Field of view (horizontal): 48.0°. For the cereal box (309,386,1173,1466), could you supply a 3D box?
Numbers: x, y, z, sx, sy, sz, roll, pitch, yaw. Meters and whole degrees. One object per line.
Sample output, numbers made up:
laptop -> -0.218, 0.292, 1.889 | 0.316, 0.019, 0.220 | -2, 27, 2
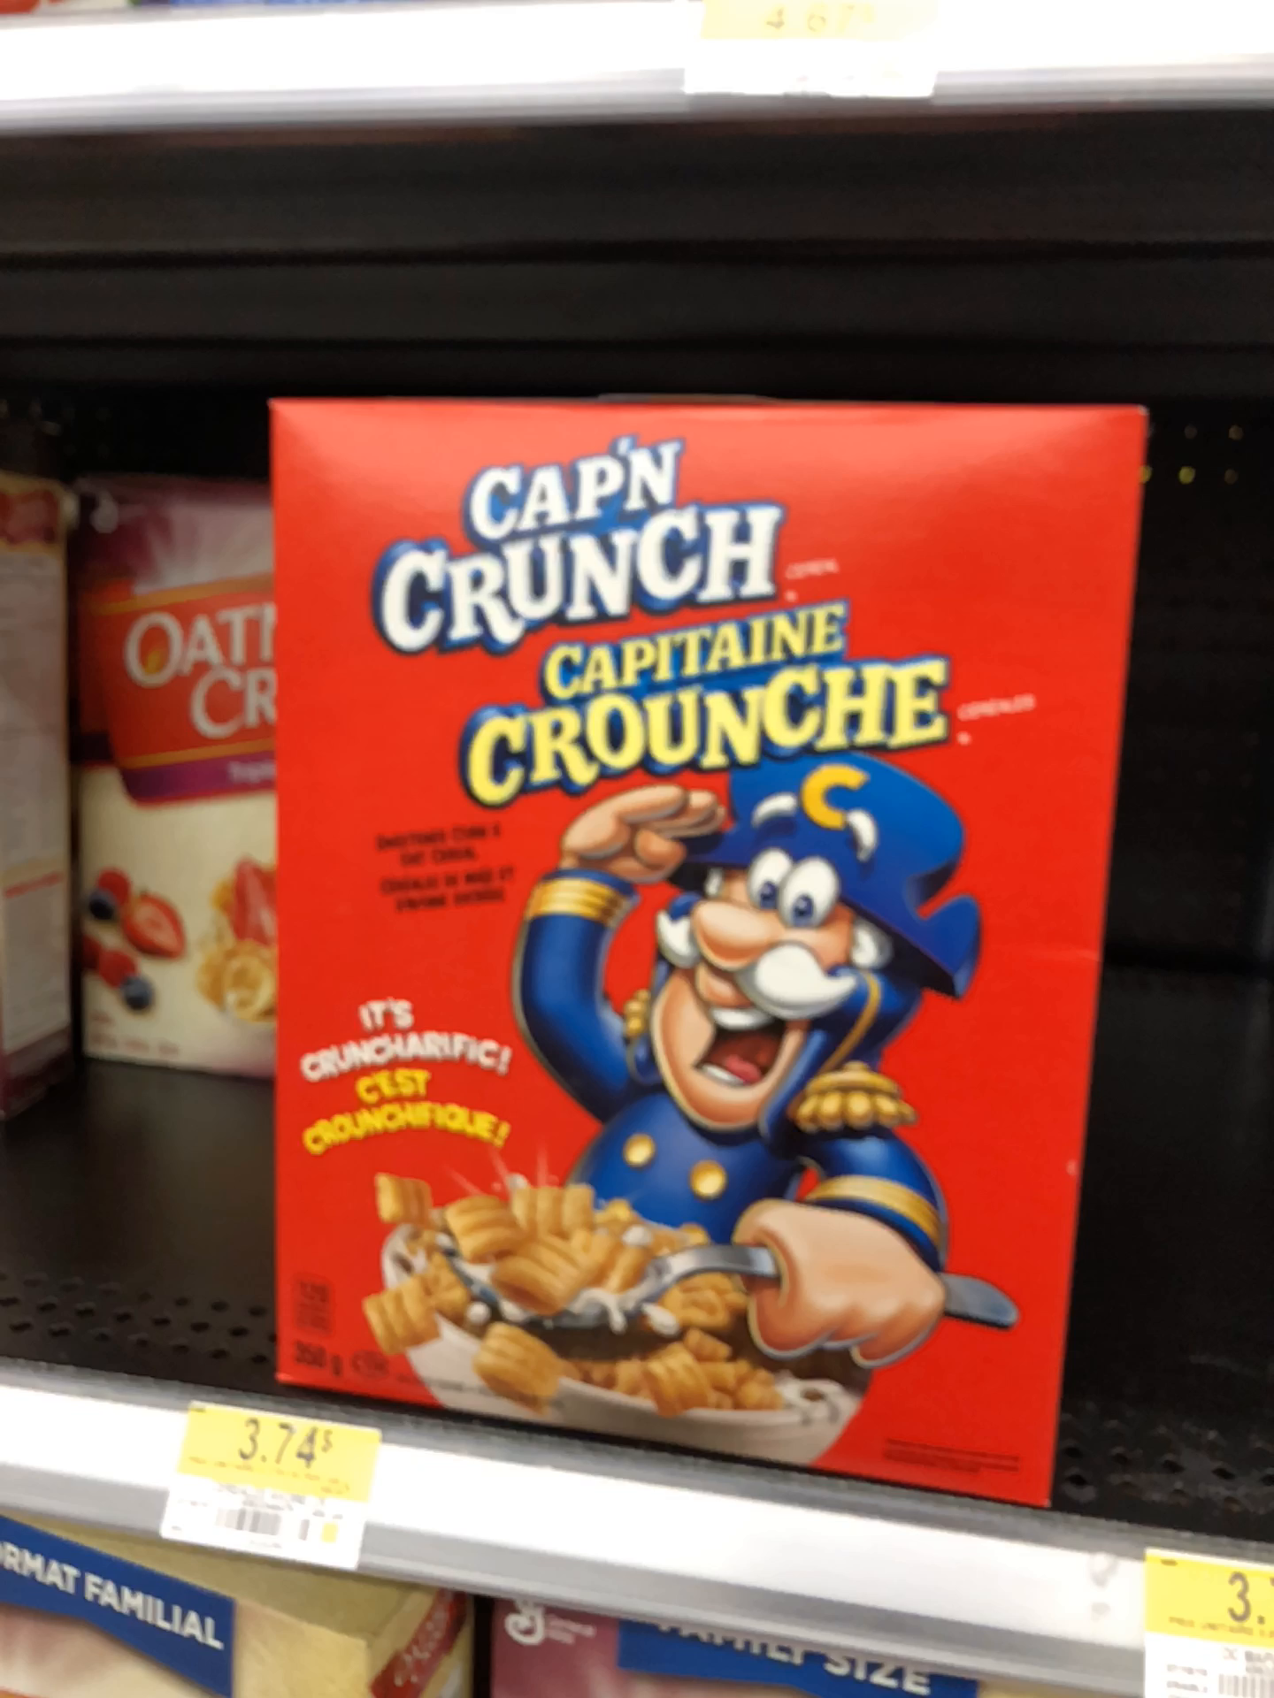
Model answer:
cereal box -> 0.021, 0.016, 0.414 | 0.220, 0.279, 0.060 | 4, 10, 12
